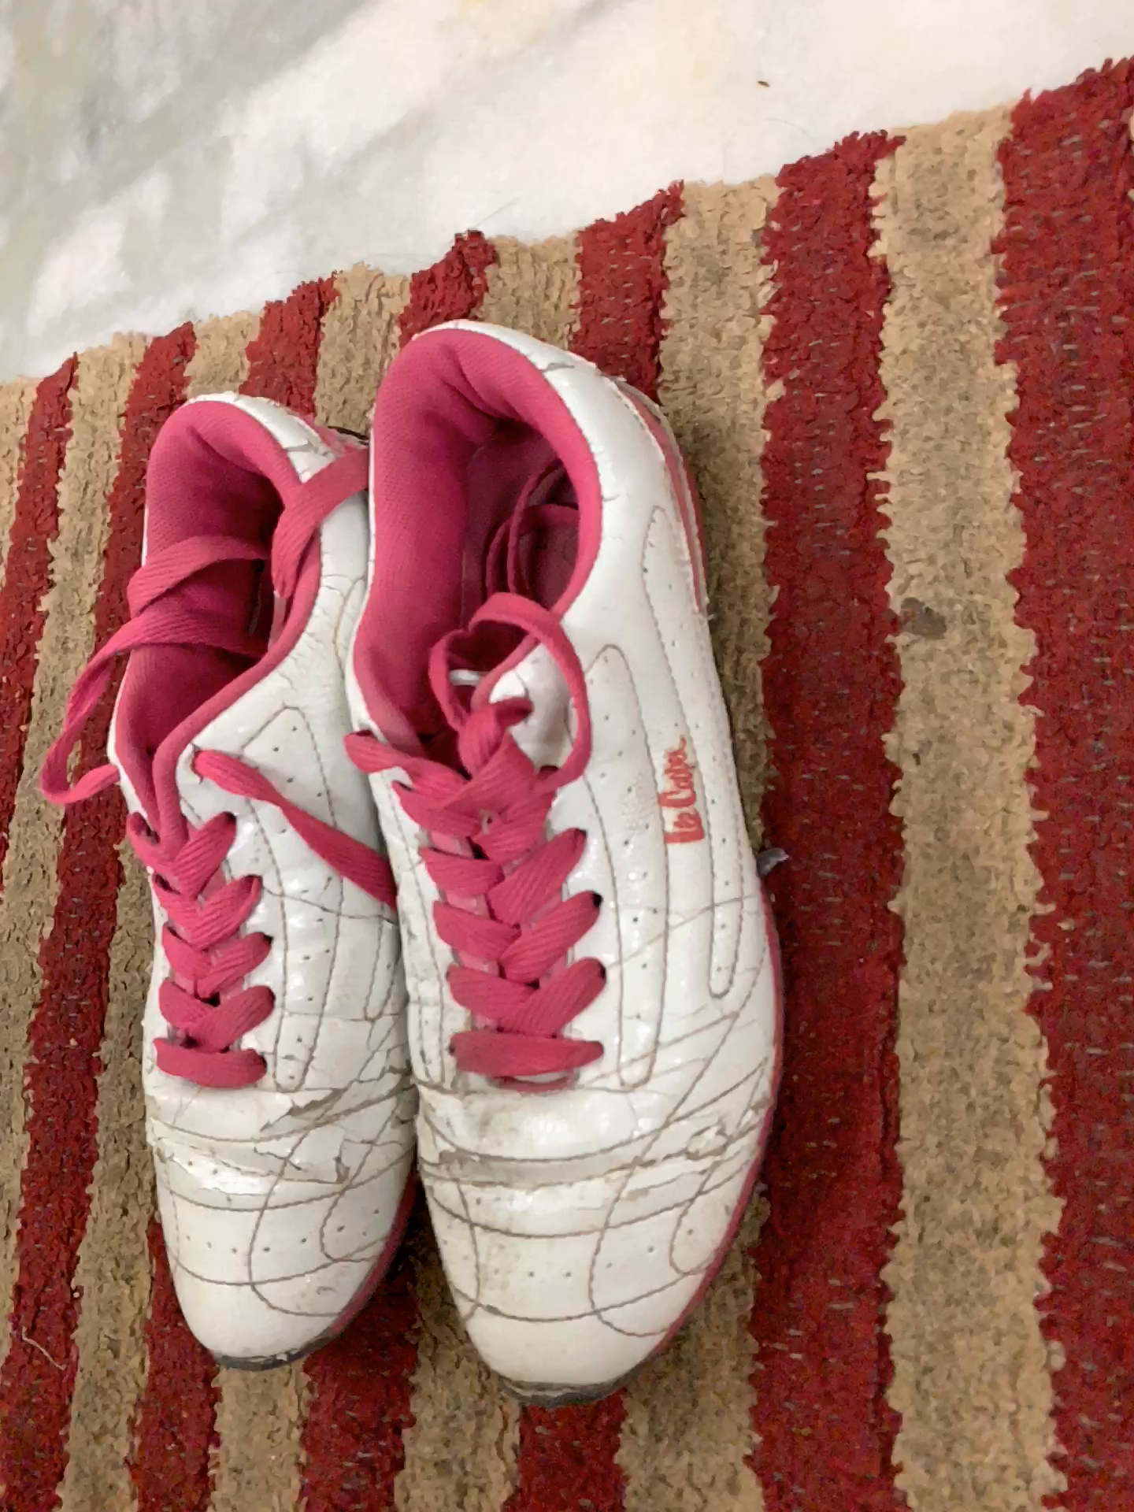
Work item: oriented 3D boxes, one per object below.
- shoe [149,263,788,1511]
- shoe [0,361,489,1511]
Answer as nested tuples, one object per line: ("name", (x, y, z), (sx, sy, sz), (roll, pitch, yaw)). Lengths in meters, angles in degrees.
("shoe", (-0.011, 0.031, 0.277), (0.100, 0.100, 0.240), (-4, 77, 28))
("shoe", (-0.092, 0.039, 0.308), (0.090, 0.100, 0.240), (-4, 77, 28))
